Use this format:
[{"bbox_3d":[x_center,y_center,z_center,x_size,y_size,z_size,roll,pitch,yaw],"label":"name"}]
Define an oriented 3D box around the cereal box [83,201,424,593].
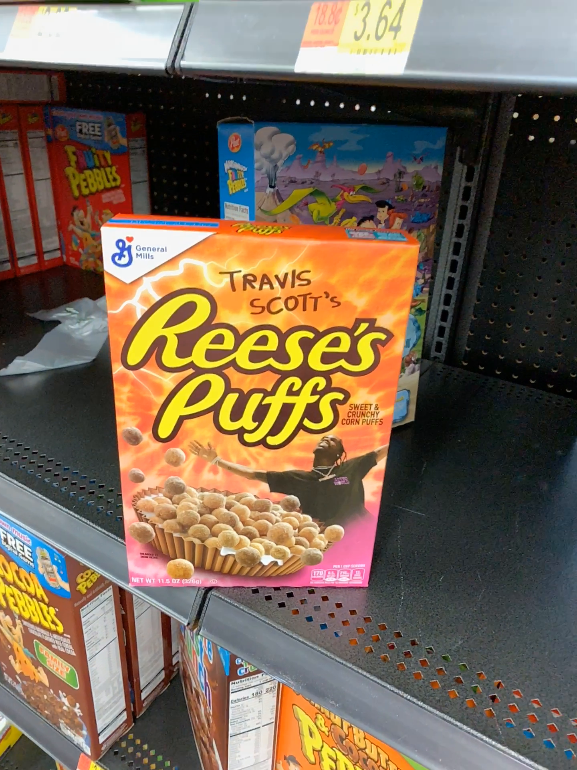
[{"bbox_3d":[-0.026,0.023,0.433,0.200,0.289,0.050,1,25,-3],"label":"cereal box"}]
